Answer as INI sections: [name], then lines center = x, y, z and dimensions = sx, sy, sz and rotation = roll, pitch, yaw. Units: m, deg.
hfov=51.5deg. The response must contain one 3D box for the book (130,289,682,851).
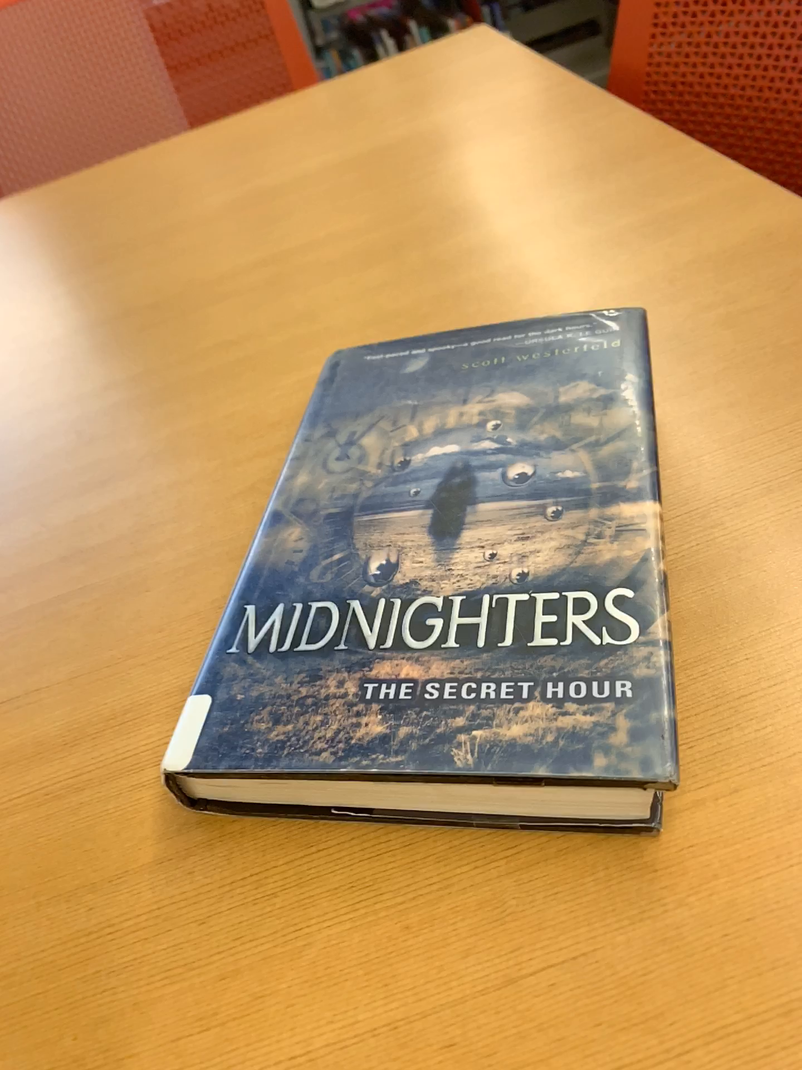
[book]
center = 0.016, -0.005, 0.304
dimensions = 0.151, 0.035, 0.221
rotation = -3, 46, 18
